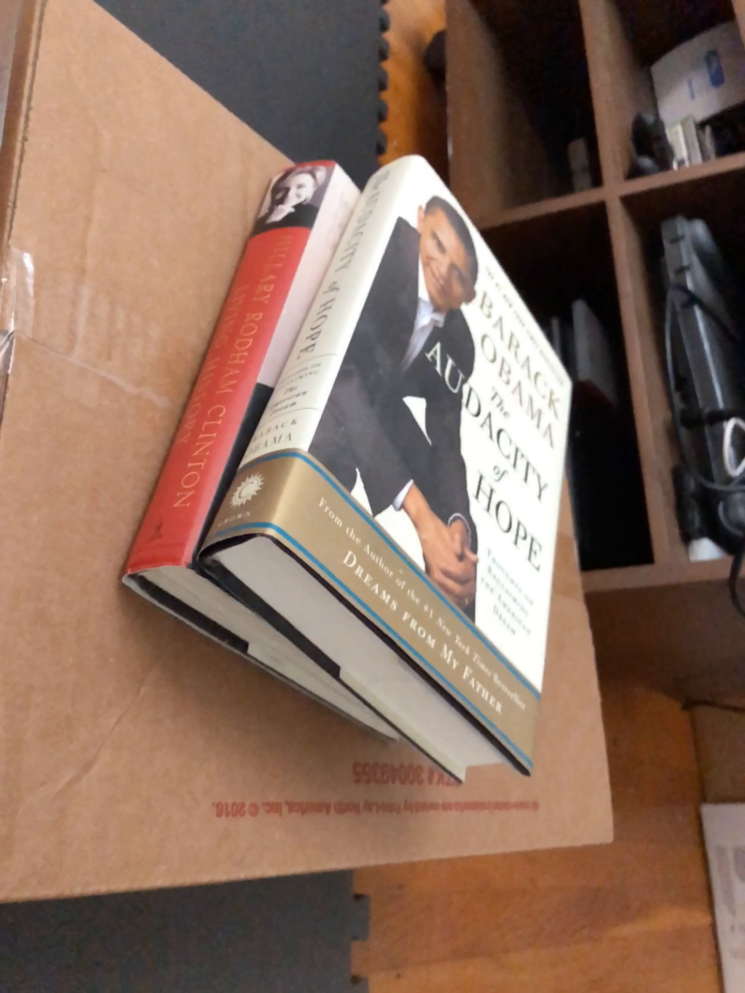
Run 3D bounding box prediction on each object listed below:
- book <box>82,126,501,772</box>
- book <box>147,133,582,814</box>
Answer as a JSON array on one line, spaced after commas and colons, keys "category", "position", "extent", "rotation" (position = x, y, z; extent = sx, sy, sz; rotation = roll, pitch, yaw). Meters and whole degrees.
[{"category": "book", "position": [-0.009, -0.027, 0.387], "extent": [0.170, 0.040, 0.251], "rotation": [42, 44, -36]}, {"category": "book", "position": [0.028, -0.019, 0.381], "extent": [0.190, 0.040, 0.251], "rotation": [48, 41, -31]}]
